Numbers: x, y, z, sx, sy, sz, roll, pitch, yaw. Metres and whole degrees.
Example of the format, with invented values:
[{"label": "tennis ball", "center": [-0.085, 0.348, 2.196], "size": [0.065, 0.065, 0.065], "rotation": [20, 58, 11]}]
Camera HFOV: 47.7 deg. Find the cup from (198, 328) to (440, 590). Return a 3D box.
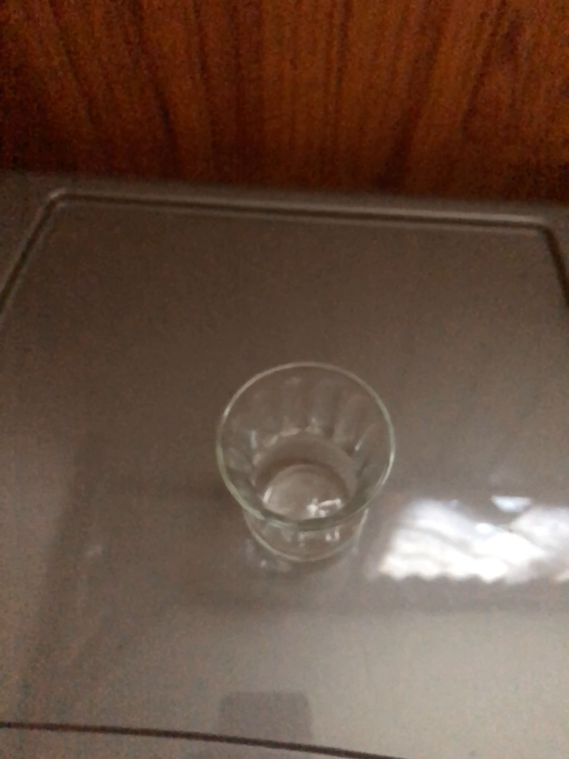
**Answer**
[{"label": "cup", "center": [0.009, 0.034, 0.242], "size": [0.060, 0.080, 0.060], "rotation": [0, 64, 0]}]
